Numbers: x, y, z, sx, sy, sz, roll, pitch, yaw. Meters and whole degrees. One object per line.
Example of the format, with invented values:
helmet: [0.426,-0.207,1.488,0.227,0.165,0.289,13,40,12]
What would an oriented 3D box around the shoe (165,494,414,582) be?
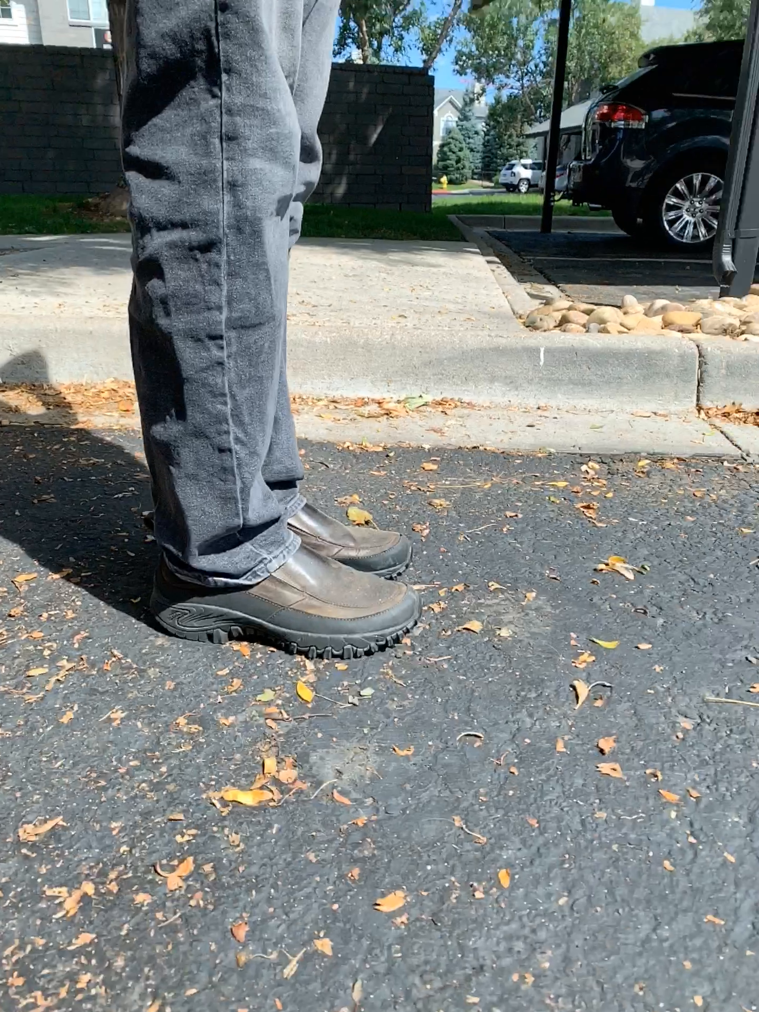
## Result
shoe: [-0.105,0.038,0.971,0.290,0.070,0.110,0,20,0]

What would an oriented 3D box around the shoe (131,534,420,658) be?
shoe: [-0.104,0.094,0.842,0.290,0.070,0.110,4,20,3]
